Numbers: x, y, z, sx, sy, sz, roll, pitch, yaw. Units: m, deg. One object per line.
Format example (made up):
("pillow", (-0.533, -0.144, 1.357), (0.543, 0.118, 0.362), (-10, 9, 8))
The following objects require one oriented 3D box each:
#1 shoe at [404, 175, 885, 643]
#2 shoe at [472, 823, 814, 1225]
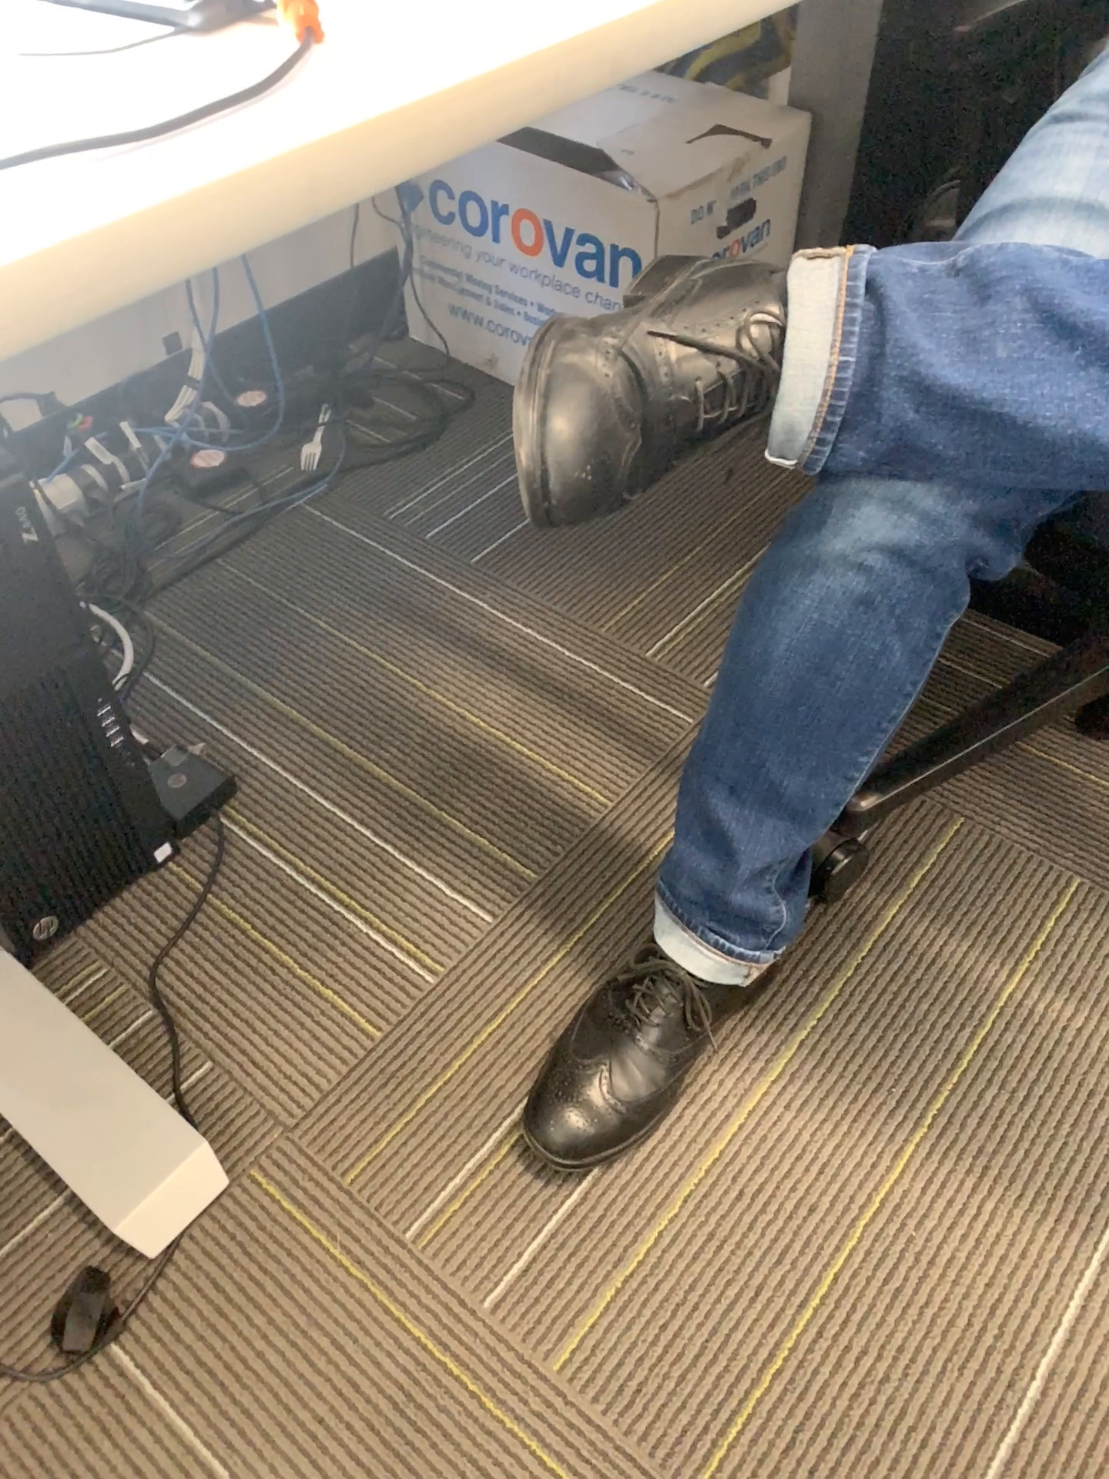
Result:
("shoe", (0.058, -0.184, 0.593), (0.091, 0.111, 0.274), (28, 54, 28))
("shoe", (0.073, 0.209, 0.874), (0.112, 0.104, 0.274), (30, 55, 26))
